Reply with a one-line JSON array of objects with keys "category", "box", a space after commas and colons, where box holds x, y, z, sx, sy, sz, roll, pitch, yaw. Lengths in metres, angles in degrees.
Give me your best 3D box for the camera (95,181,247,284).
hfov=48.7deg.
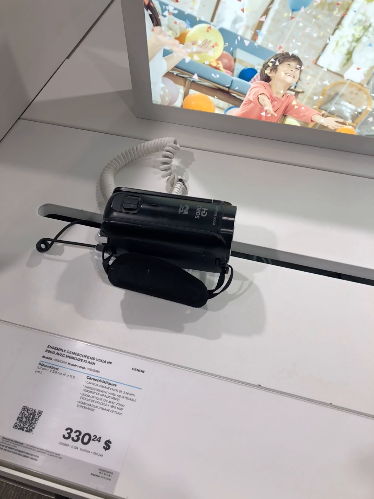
[{"category": "camera", "box": [-0.011, -0.015, 0.350, 0.113, 0.050, 0.050, 9, 53, 8]}]
